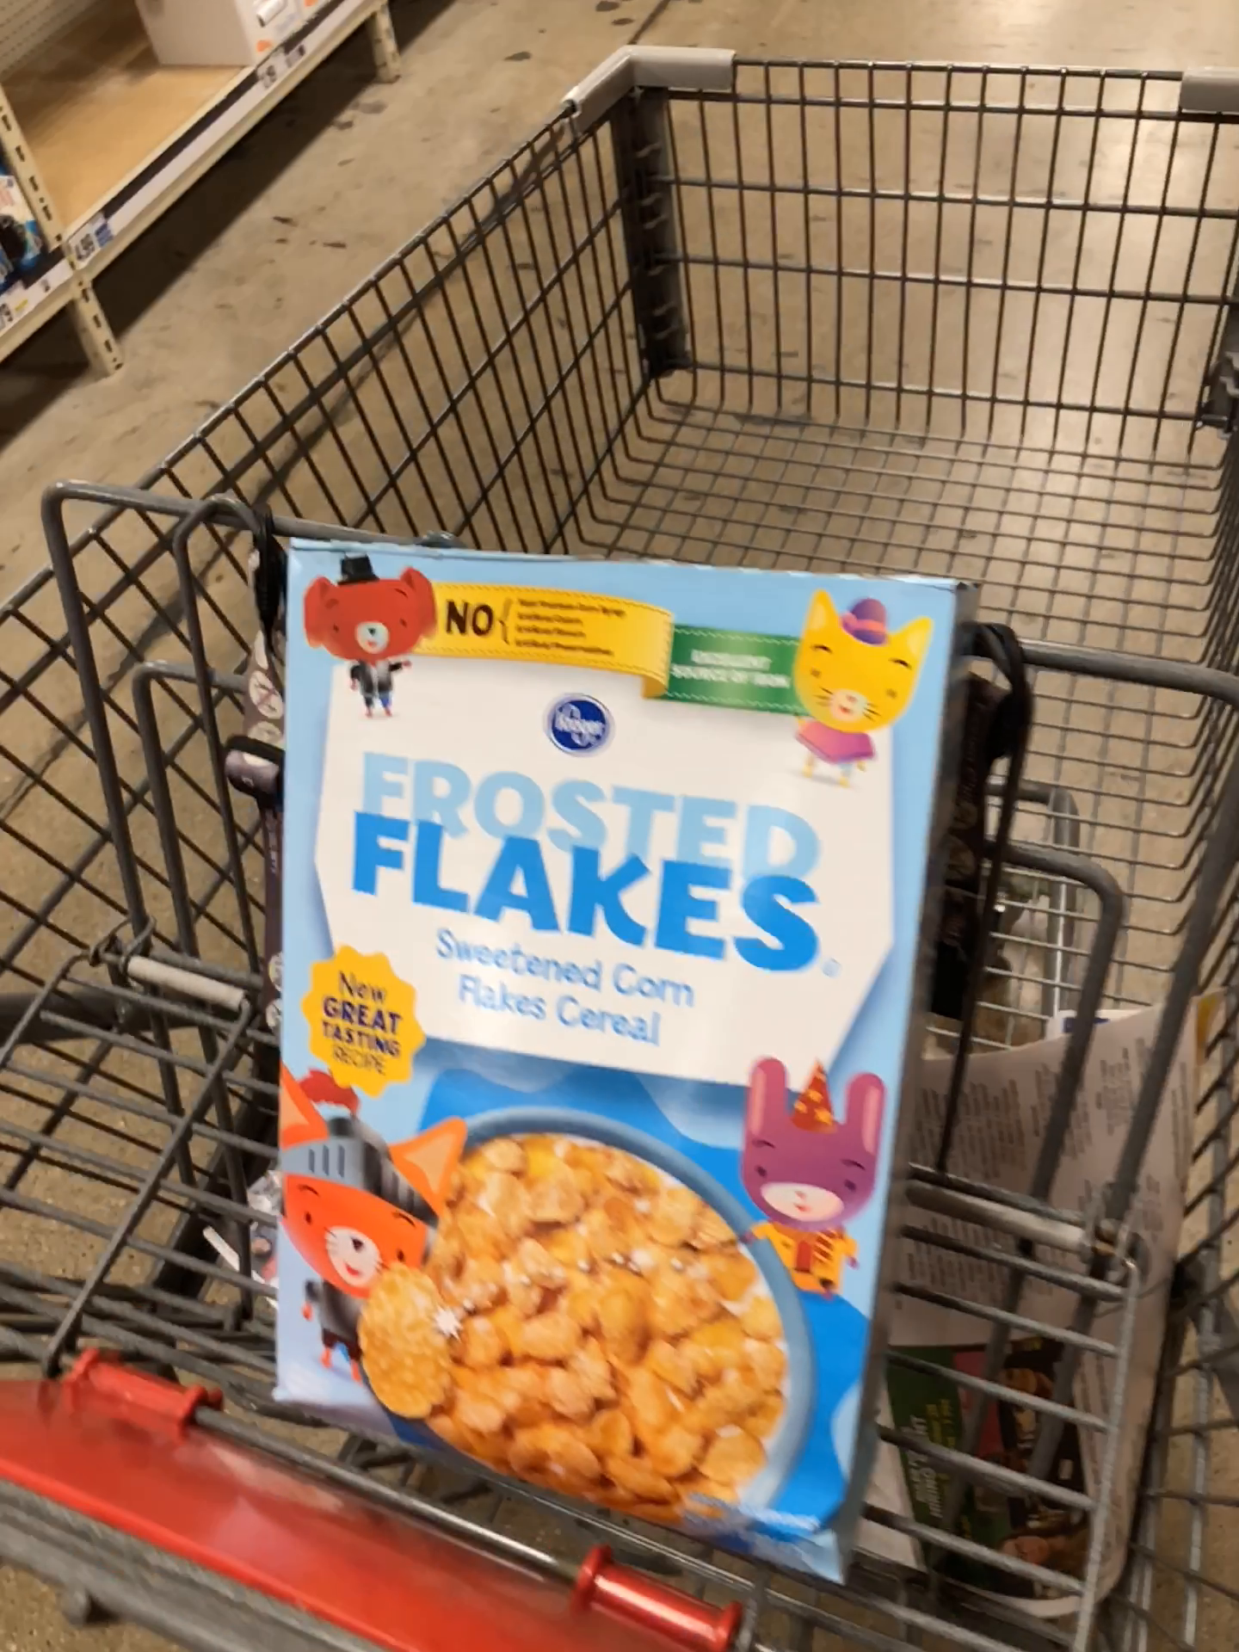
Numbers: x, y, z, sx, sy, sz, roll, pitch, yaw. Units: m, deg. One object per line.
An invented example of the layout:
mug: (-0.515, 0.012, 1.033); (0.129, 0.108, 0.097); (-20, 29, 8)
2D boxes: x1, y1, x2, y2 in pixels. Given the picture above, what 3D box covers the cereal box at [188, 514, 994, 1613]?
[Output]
cereal box: (-0.013, 0.057, 0.398); (0.200, 0.270, 0.070); (8, 10, 16)
